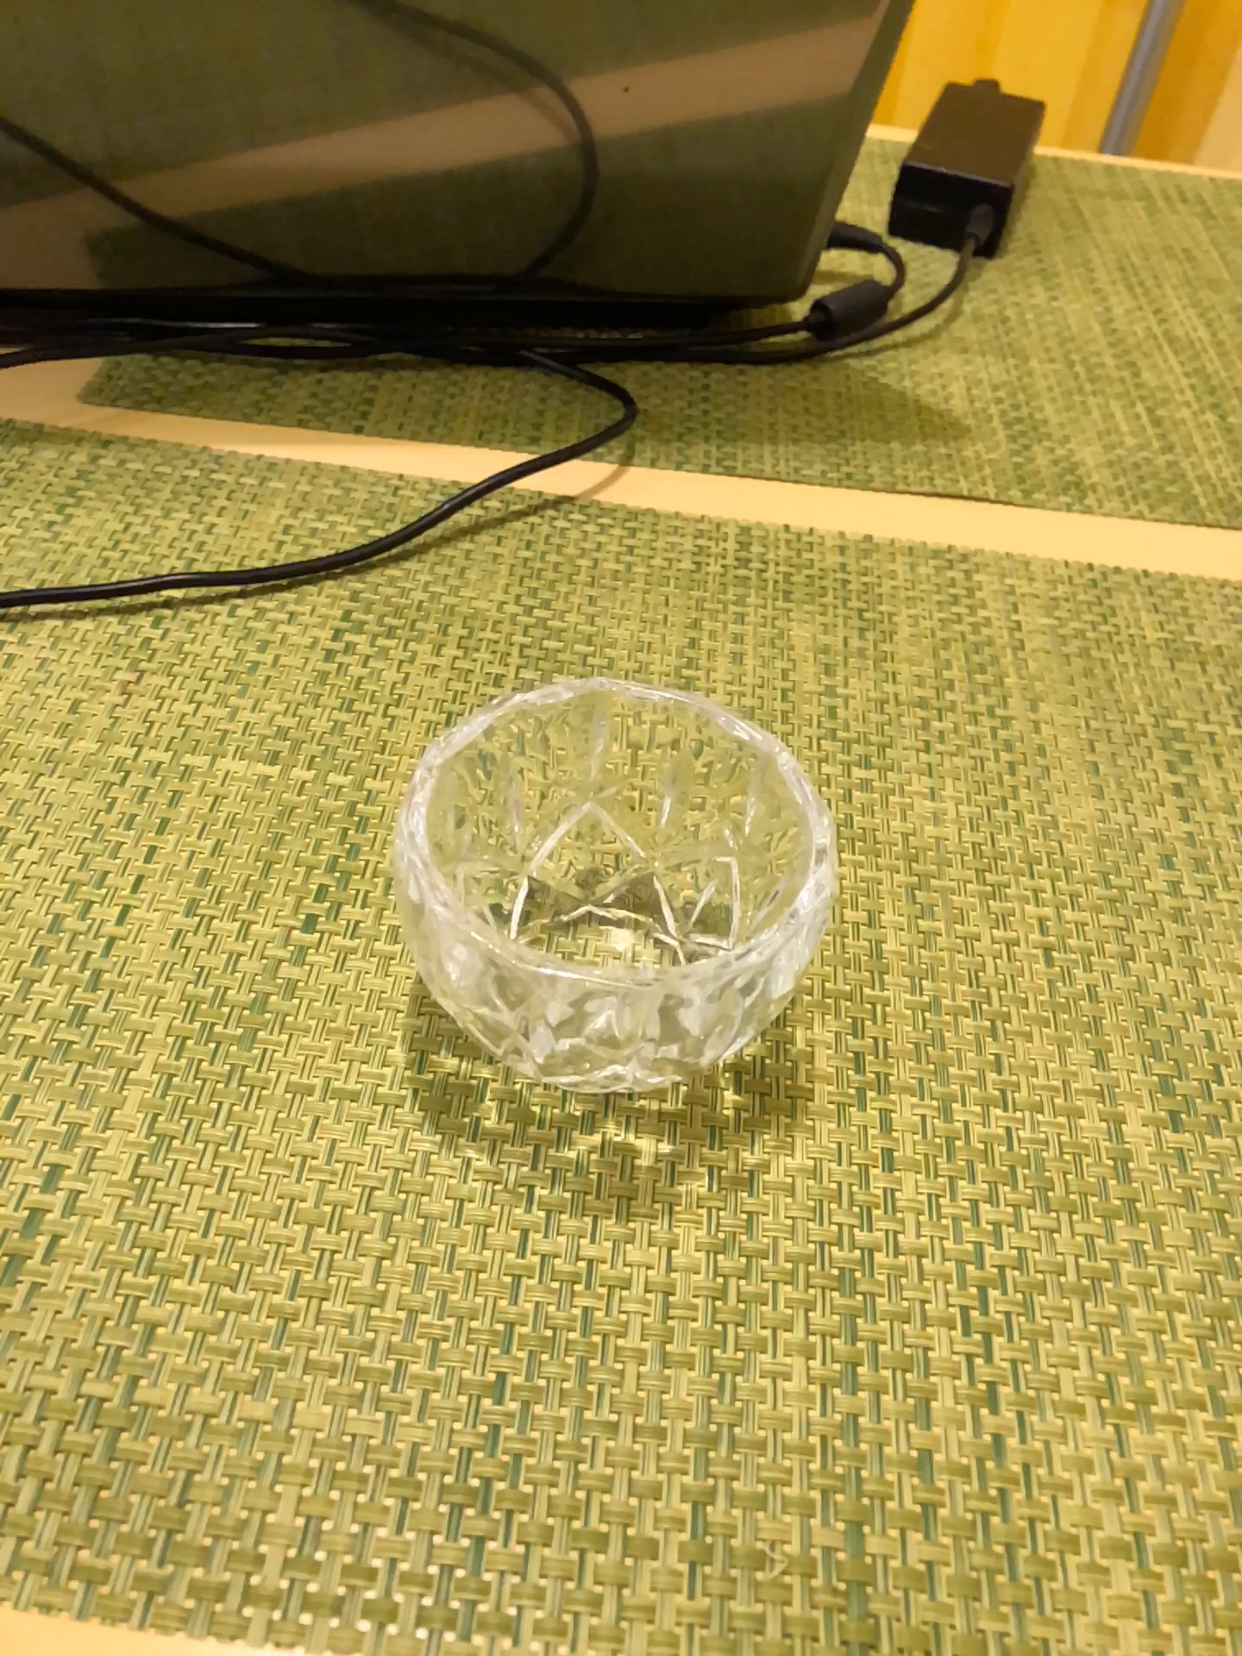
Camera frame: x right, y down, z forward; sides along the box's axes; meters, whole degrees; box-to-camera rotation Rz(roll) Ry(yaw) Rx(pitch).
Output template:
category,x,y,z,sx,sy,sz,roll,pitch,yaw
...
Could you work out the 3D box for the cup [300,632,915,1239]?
category,x,y,z,sx,sy,sz,roll,pitch,yaw
cup,0.000,0.015,0.238,0.080,0.045,0.072,18,47,10
